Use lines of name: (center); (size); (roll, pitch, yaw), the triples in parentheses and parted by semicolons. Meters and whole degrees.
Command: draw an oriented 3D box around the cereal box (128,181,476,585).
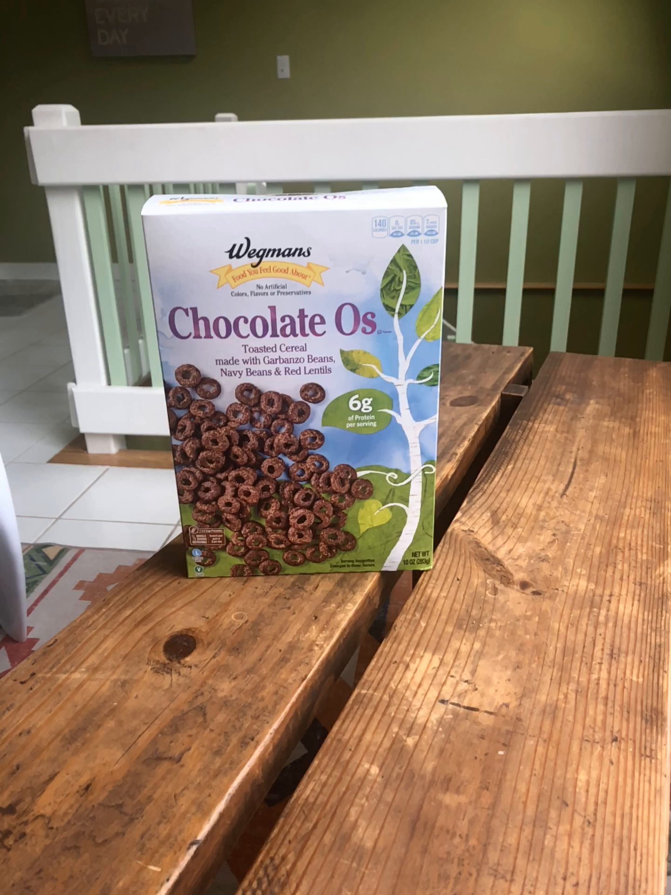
cereal box: (-0.018, -0.039, 0.531); (0.210, 0.278, 0.060); (-2, 25, -1)
